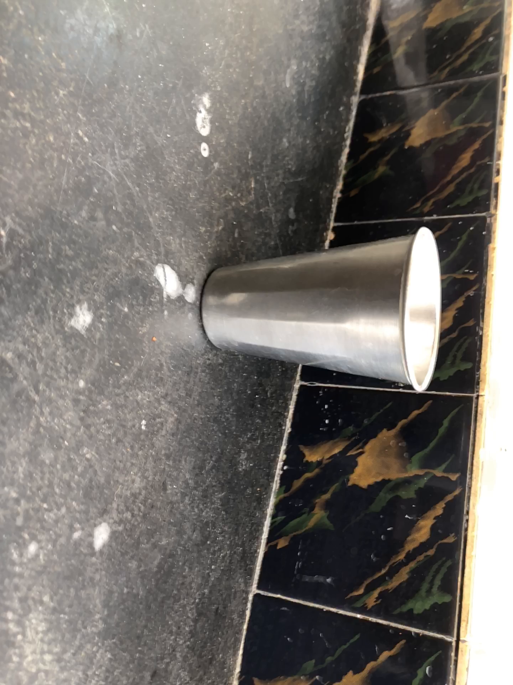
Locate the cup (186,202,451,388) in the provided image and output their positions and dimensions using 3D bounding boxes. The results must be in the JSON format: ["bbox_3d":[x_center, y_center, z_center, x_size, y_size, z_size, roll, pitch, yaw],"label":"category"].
[{"bbox_3d":[0.036,-0.021,0.307,0.071,0.119,0.080,14,79,-64],"label":"cup"}]
